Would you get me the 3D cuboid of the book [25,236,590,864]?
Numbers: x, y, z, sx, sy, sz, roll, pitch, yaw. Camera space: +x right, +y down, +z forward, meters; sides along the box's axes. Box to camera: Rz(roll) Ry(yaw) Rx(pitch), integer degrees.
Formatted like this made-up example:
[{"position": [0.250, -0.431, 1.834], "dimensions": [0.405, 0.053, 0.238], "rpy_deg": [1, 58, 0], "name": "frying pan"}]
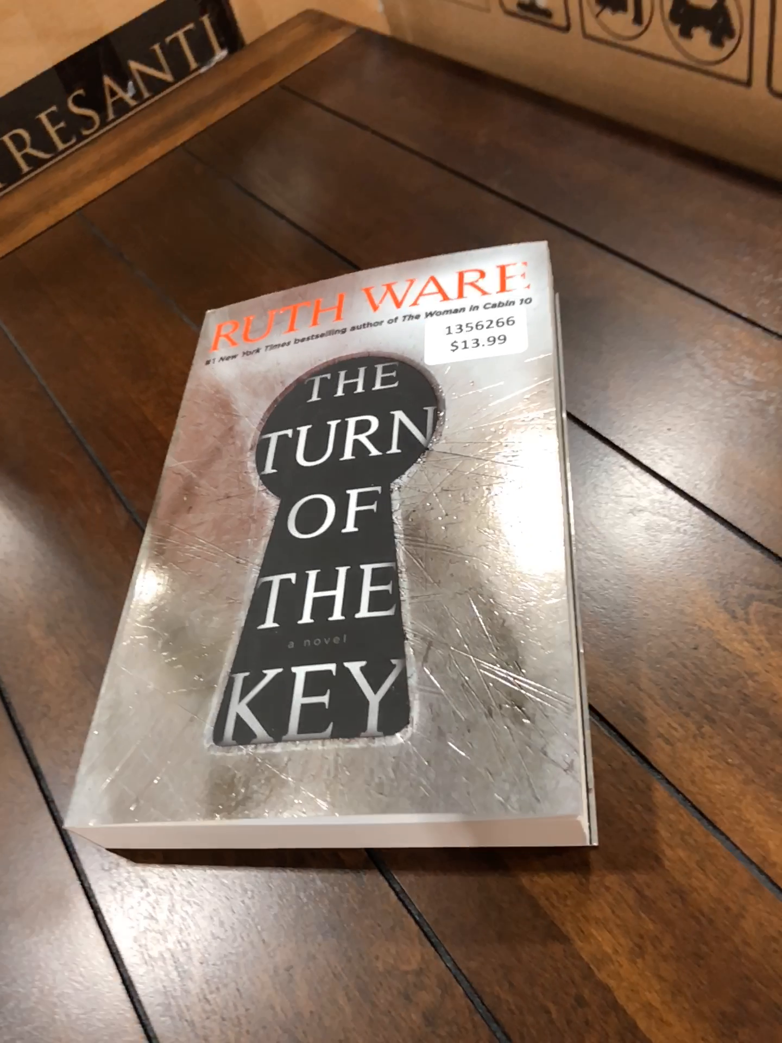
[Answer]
[{"position": [-0.019, -0.003, 0.311], "dimensions": [0.158, 0.028, 0.233], "rpy_deg": [-6, 53, 15], "name": "book"}]
